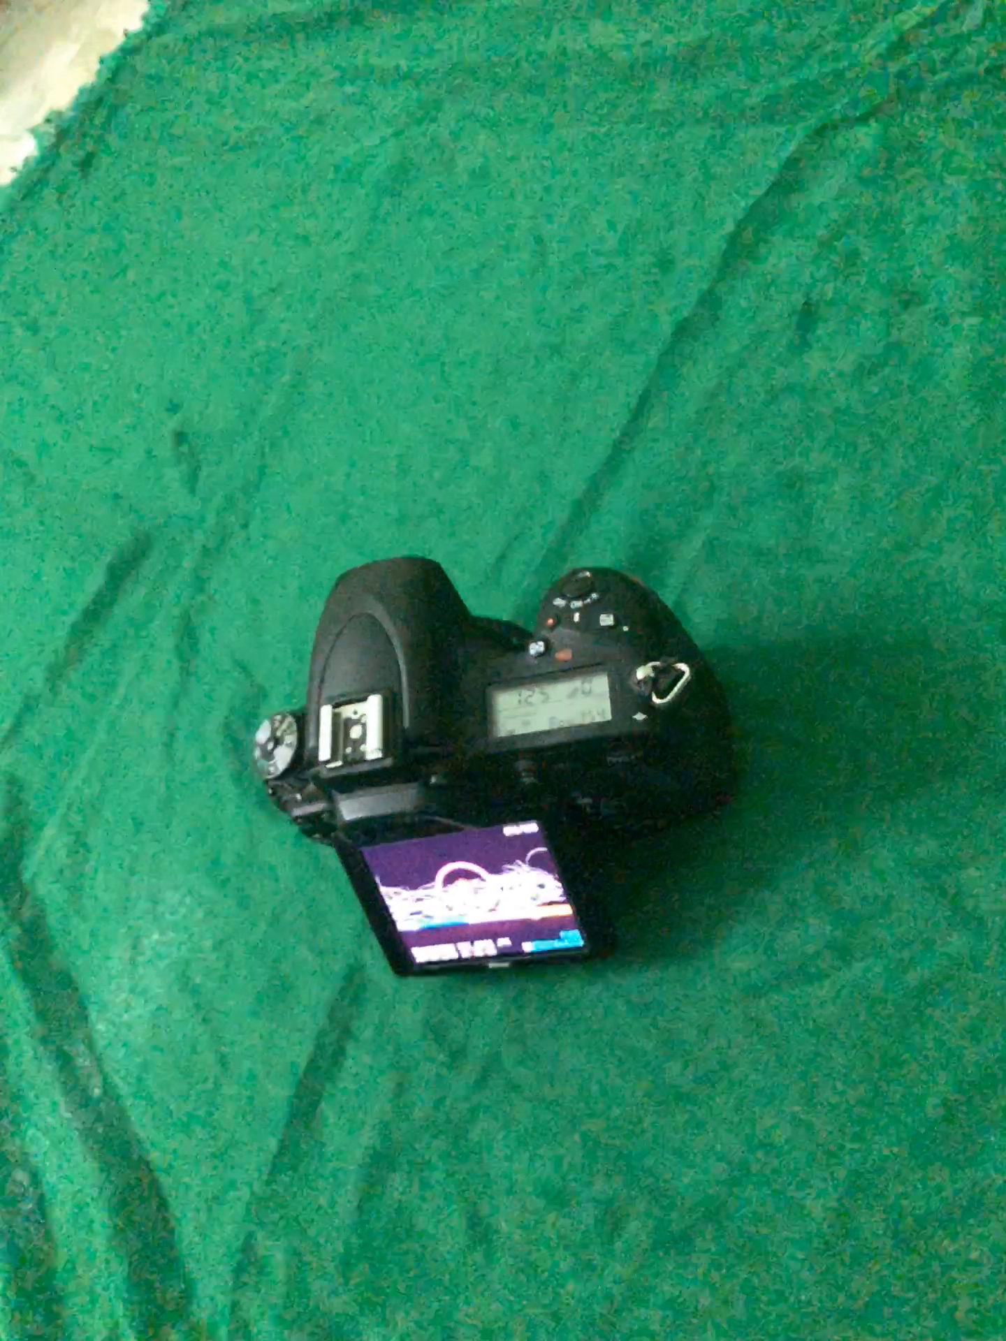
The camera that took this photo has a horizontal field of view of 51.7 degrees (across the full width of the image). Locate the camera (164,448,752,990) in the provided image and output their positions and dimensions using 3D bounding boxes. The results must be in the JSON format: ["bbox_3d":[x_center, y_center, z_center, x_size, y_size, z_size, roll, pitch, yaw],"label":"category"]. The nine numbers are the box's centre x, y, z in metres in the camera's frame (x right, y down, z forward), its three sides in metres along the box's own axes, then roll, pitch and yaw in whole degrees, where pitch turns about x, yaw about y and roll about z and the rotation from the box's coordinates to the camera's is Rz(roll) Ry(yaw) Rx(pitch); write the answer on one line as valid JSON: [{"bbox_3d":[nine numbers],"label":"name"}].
[{"bbox_3d":[-0.009,0.027,0.328,0.142,0.100,0.128,-10,65,24],"label":"camera"}]
